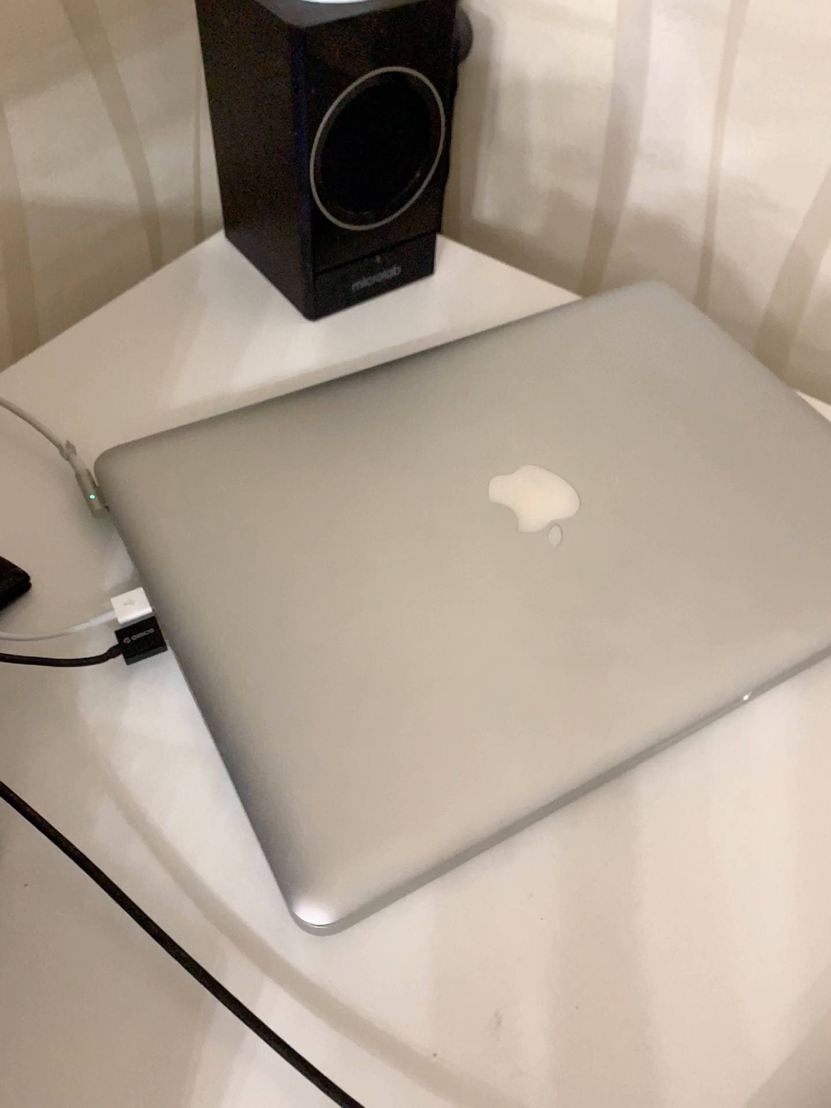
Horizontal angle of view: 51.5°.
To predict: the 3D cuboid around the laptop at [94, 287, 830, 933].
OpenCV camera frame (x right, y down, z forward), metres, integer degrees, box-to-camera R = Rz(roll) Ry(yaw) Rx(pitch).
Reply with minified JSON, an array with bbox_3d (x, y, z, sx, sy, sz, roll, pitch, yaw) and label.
[{"bbox_3d":[0.048,-0.017,0.374,0.306,0.007,0.218,-22,58,-22],"label":"laptop"}]
